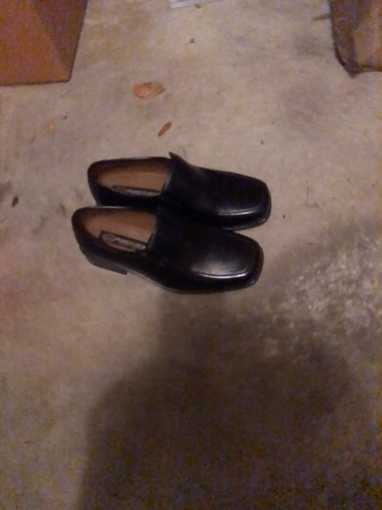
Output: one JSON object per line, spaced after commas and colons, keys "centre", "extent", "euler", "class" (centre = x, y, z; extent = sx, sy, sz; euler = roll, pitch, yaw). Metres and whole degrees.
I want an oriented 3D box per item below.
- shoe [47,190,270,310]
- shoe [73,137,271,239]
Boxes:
{"centre": [-0.037, -0.006, 0.603], "extent": [0.279, 0.113, 0.101], "euler": [7, 67, 10], "class": "shoe"}
{"centre": [-0.020, -0.097, 0.639], "extent": [0.269, 0.113, 0.104], "euler": [1, 67, 7], "class": "shoe"}
